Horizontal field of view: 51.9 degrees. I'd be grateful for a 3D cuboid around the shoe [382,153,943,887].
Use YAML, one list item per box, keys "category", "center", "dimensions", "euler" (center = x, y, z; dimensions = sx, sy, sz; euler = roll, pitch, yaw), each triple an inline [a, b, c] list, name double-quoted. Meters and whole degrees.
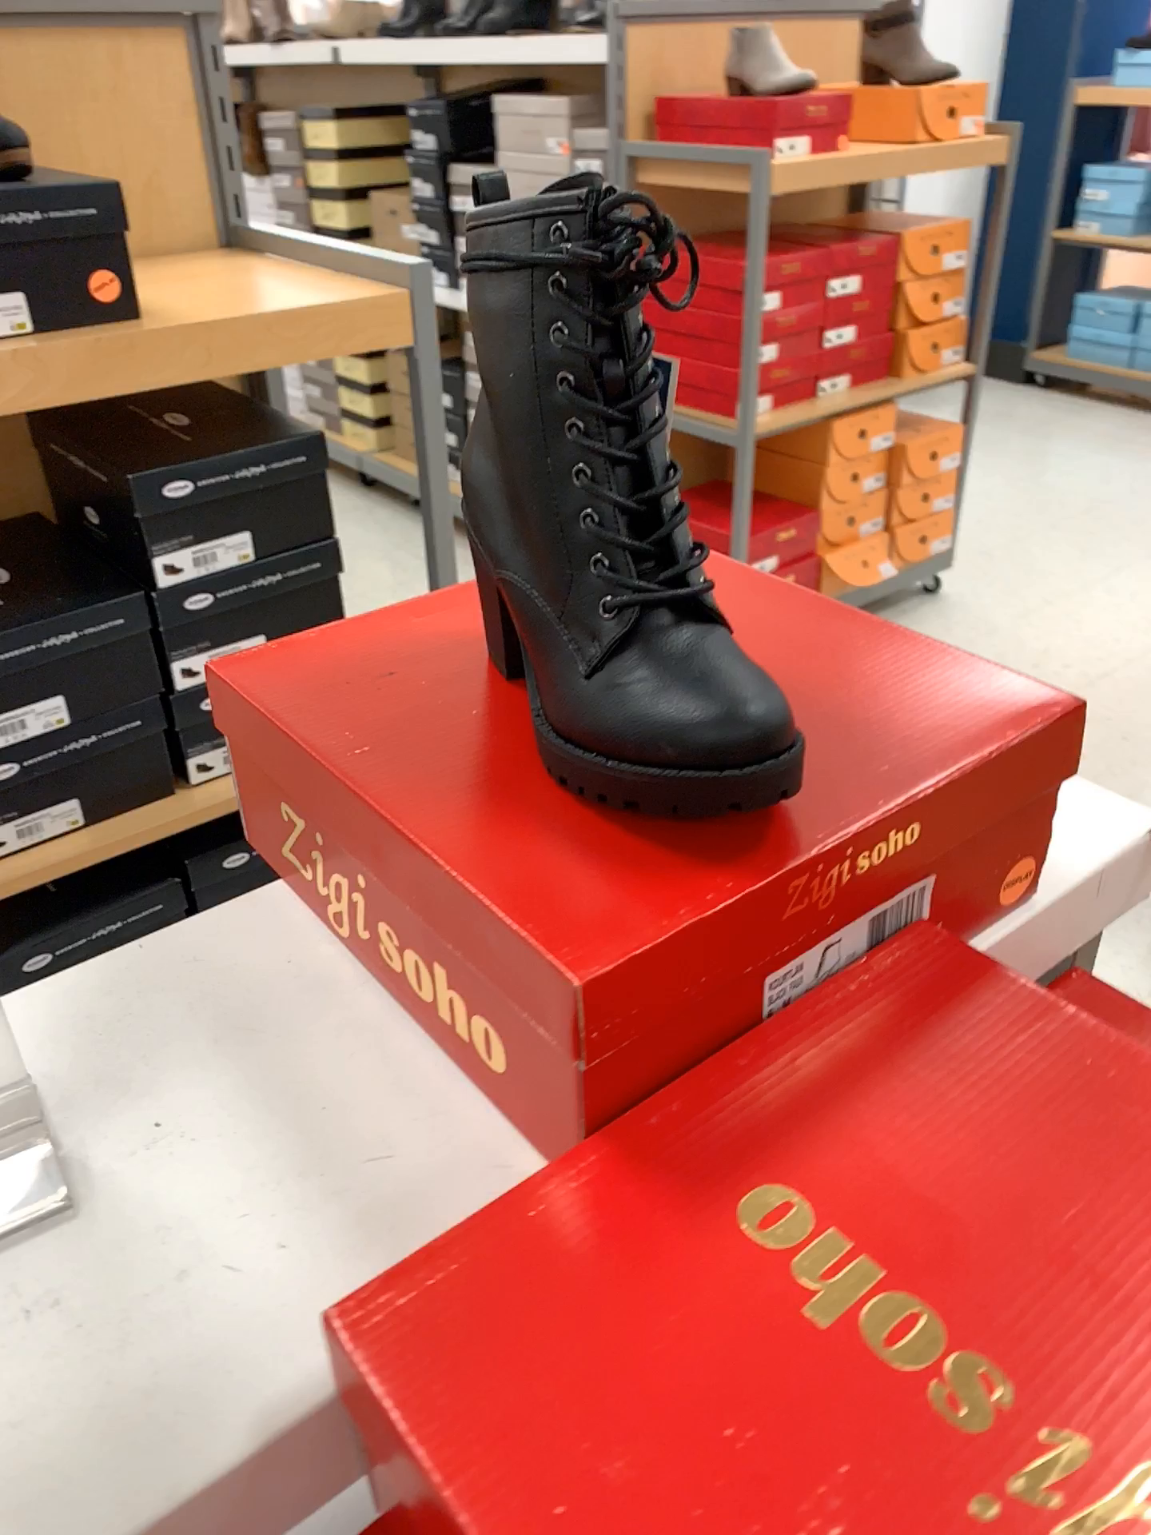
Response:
- category: "shoe"
  center: [0.017, -0.105, 0.437]
  dimensions: [0.092, 0.203, 0.201]
  euler: [-16, 34, -22]
